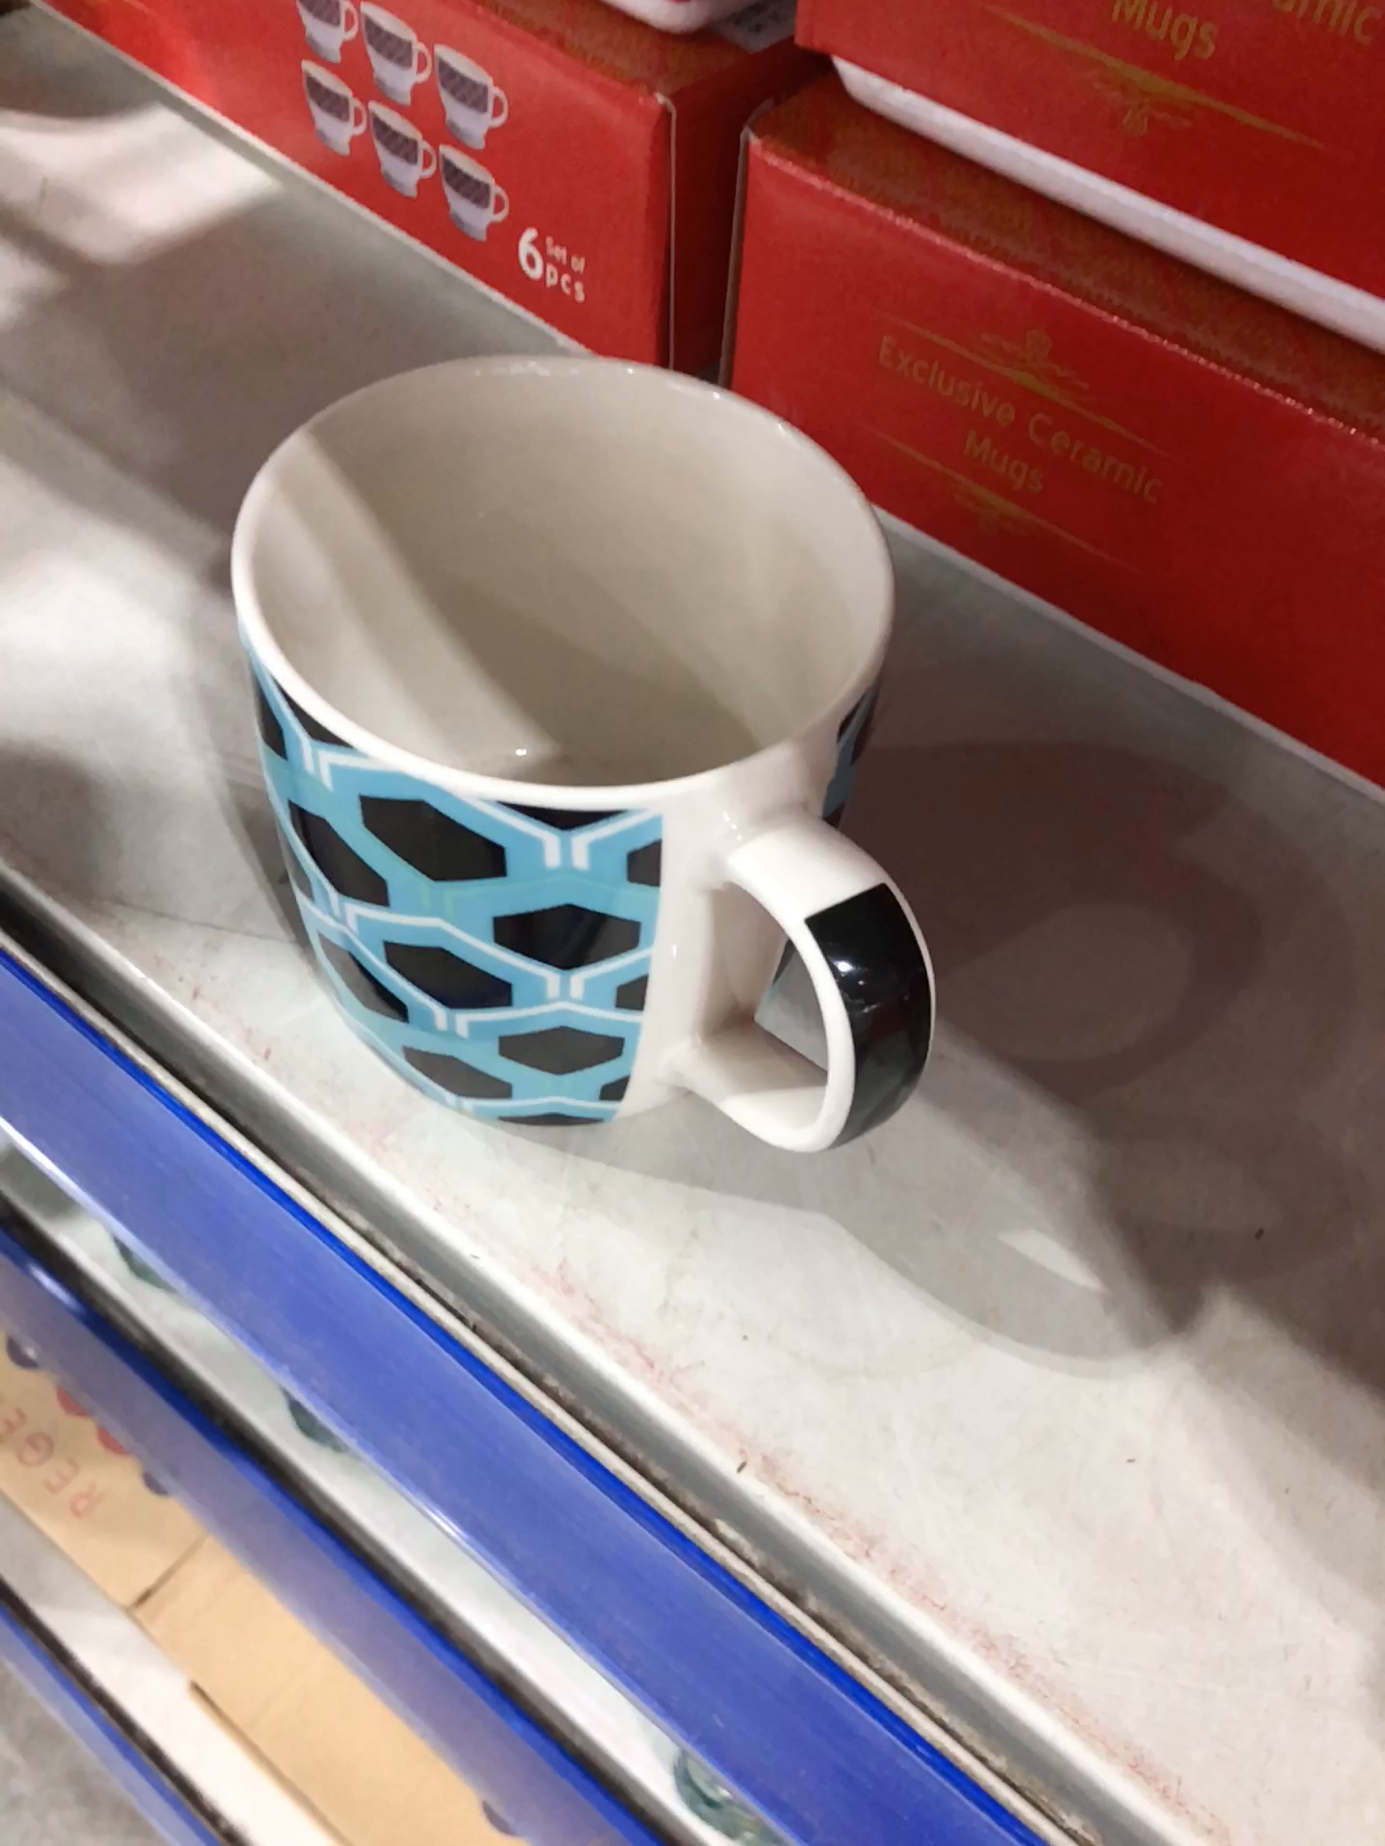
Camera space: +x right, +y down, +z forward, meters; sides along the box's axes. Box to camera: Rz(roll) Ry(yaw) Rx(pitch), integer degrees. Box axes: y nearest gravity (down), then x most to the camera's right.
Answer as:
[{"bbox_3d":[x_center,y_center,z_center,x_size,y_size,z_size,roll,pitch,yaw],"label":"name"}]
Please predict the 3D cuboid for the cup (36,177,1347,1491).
[{"bbox_3d":[-0.007,-0.016,0.244,0.110,0.120,0.130,-31,60,-25],"label":"cup"}]
